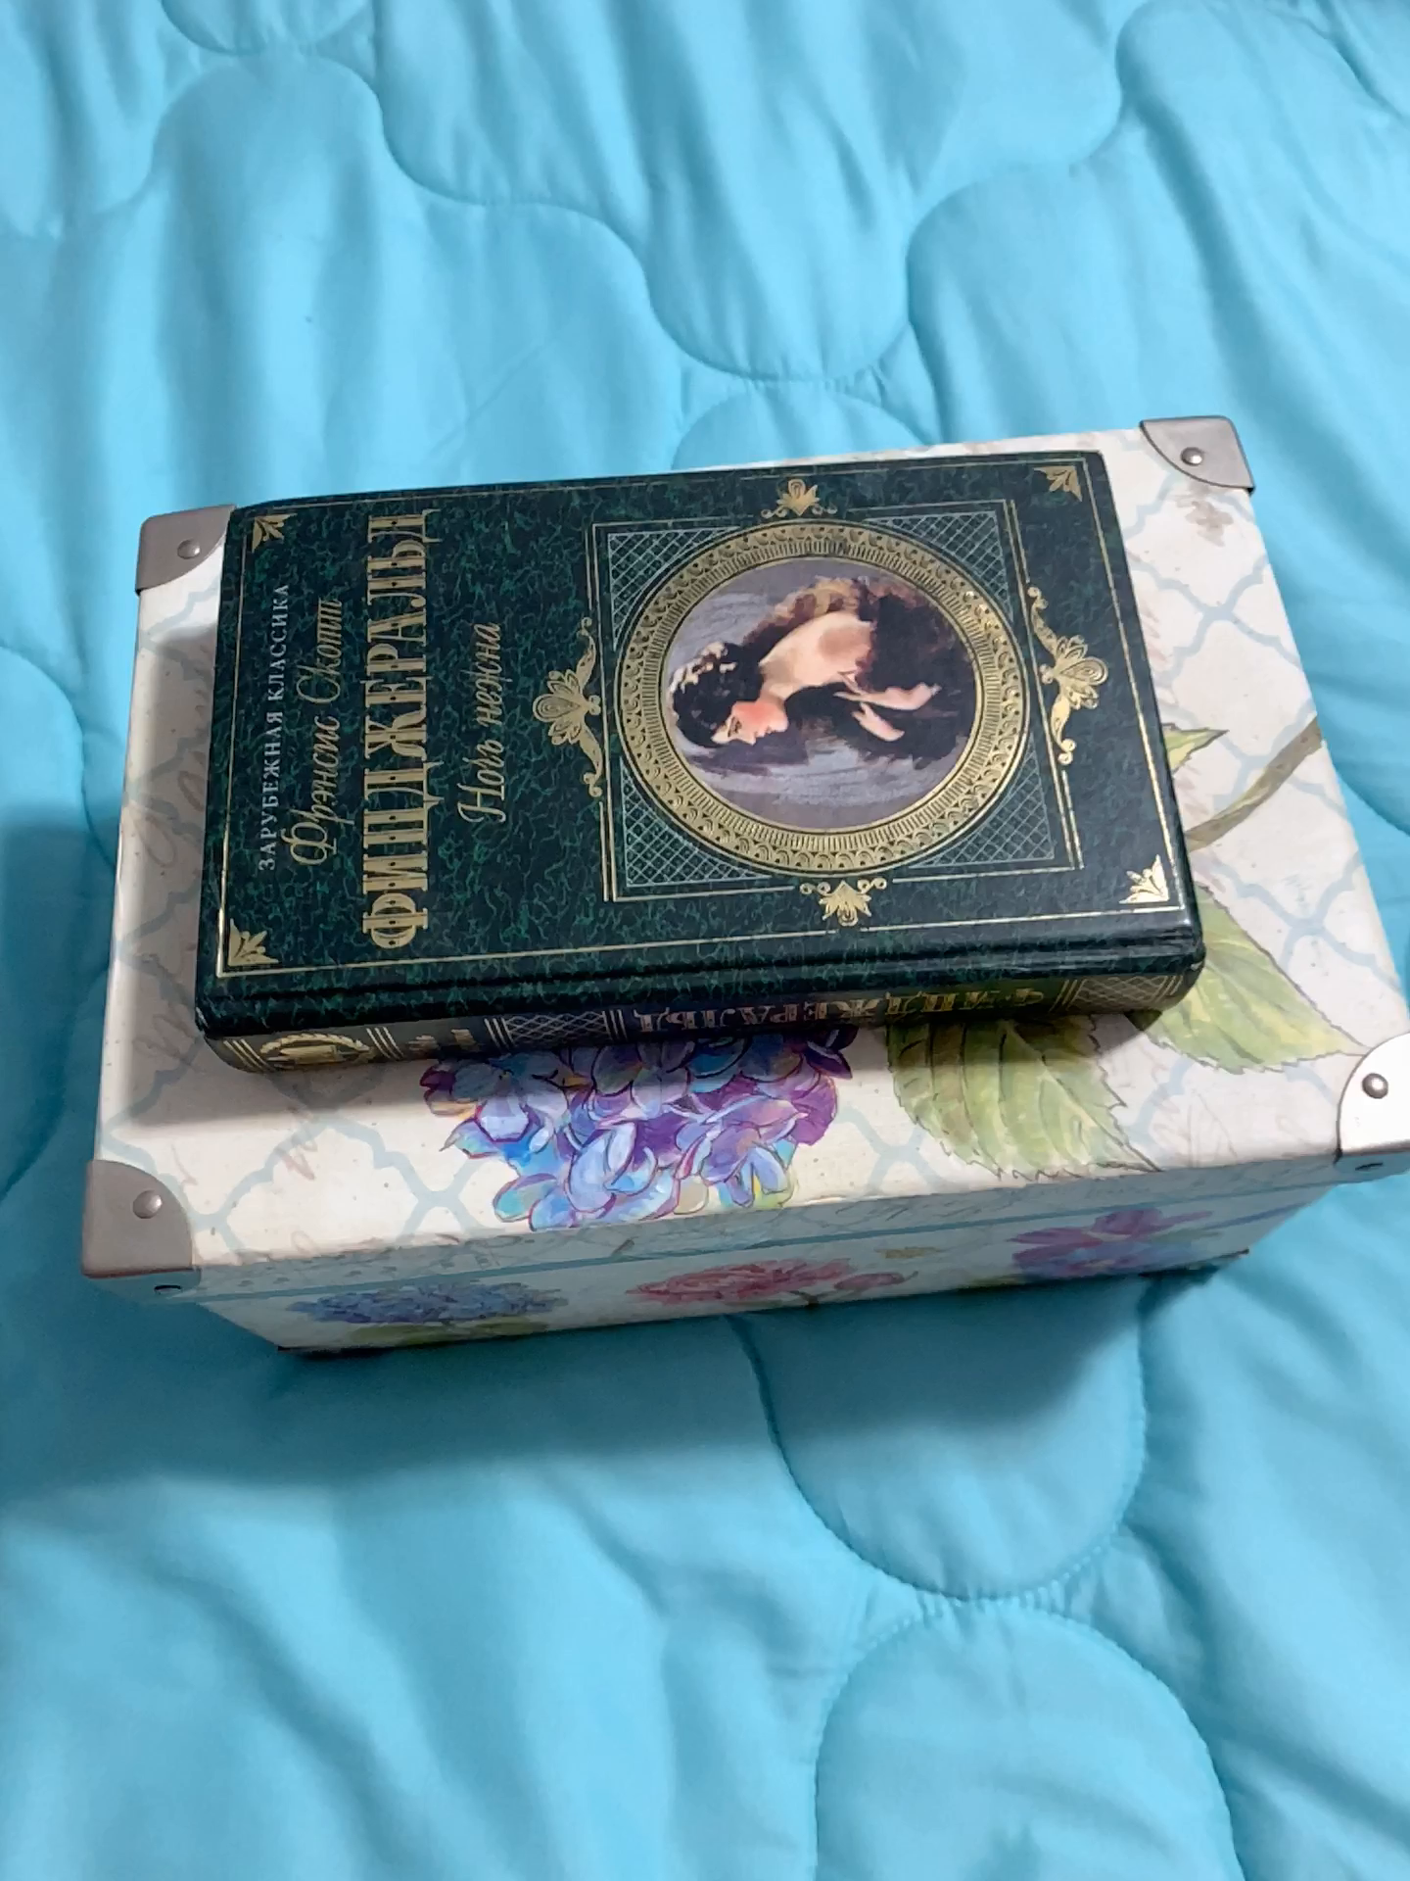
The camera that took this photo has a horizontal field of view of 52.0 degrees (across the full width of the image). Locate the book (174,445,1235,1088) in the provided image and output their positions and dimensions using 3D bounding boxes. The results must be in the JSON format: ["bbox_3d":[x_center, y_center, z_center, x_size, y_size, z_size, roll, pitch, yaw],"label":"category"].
[{"bbox_3d":[-0.004,-0.044,0.341,0.220,0.030,0.140,-4,67,-1],"label":"book"}]
